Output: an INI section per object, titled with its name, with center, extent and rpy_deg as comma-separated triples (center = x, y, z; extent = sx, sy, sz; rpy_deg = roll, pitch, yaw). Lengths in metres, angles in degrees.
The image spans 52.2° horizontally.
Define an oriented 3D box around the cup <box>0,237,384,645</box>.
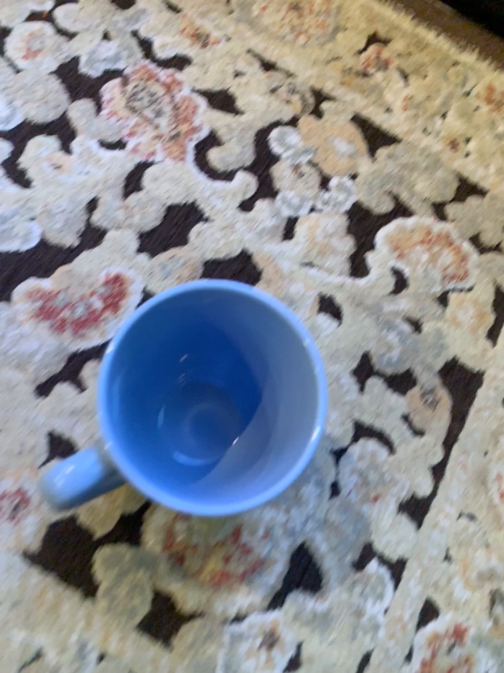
[cup]
center = -0.032, 0.040, 0.224
extent = 0.120, 0.090, 0.090
rpy_deg = -32, 80, -18
